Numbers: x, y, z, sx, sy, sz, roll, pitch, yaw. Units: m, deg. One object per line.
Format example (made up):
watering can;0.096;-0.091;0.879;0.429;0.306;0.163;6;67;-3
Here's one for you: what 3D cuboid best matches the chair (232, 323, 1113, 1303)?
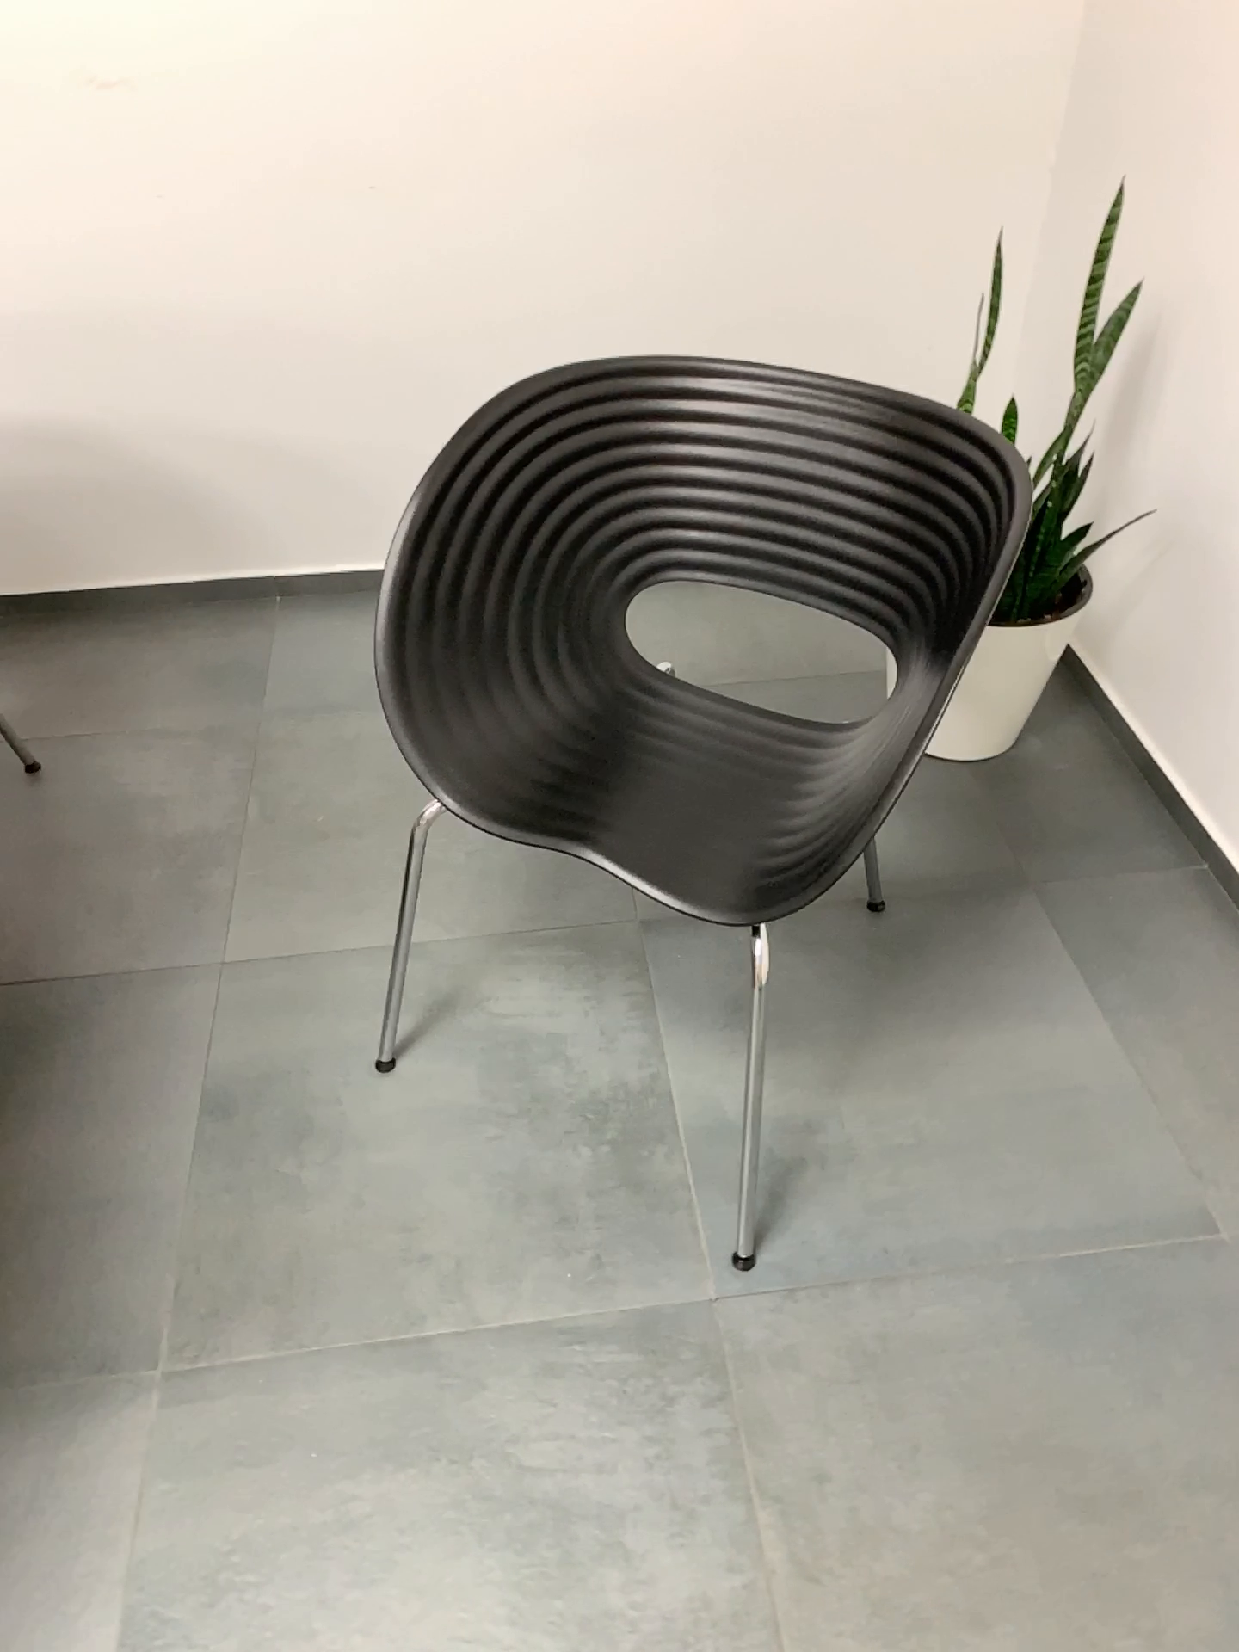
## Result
chair;0.081;-0.050;1.521;0.651;0.796;0.643;22;45;24
